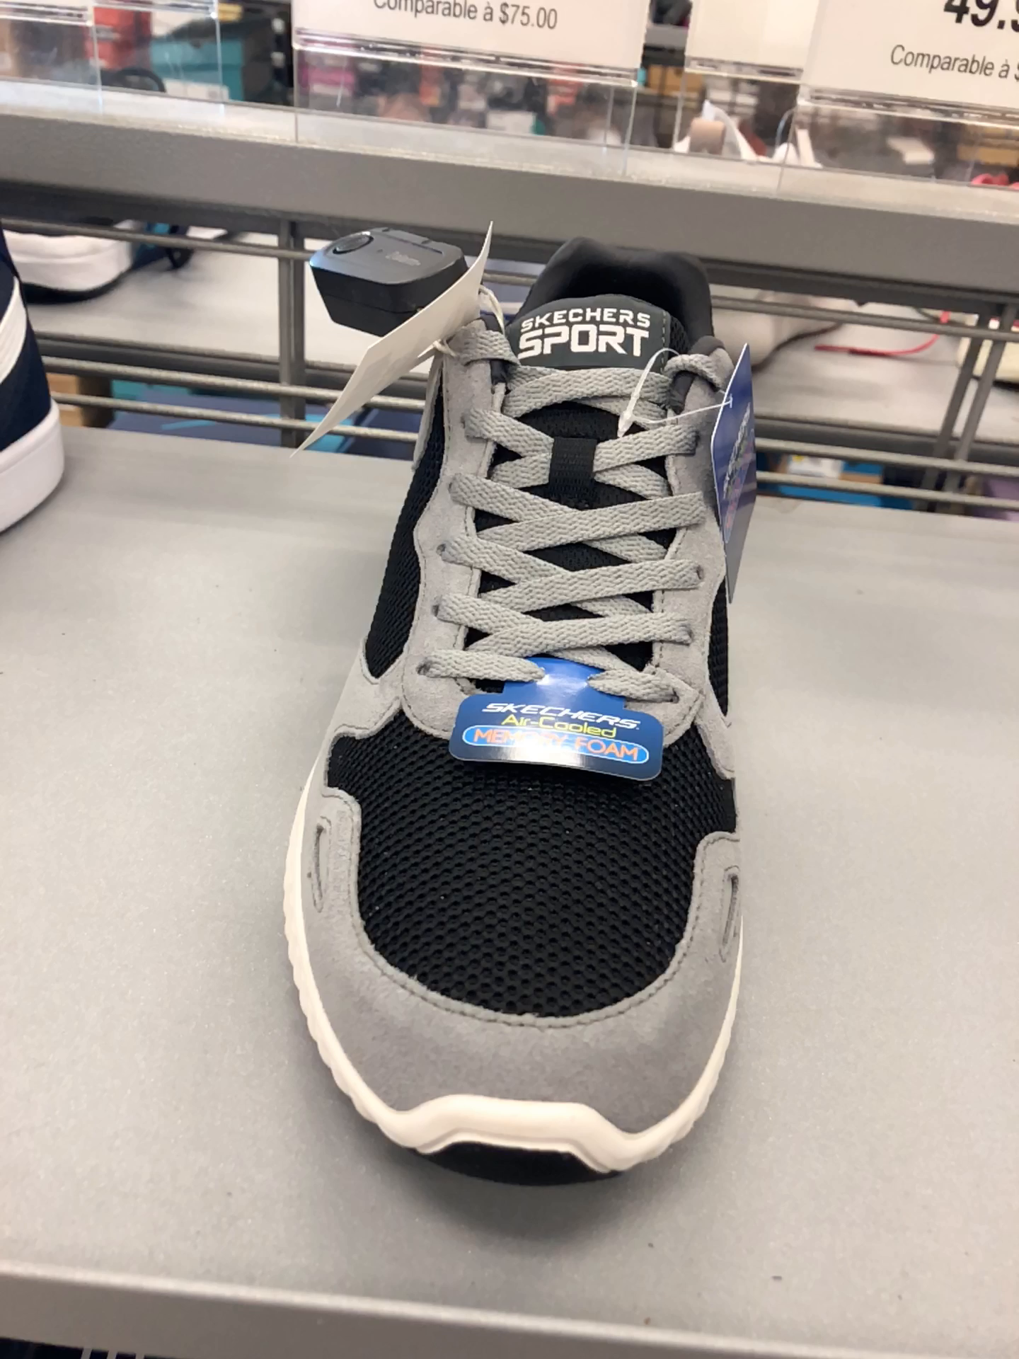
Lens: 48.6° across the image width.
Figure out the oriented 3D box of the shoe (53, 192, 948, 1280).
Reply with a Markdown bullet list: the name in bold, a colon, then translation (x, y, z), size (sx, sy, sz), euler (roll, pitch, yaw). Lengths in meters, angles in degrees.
- **shoe**: translation (0.012, -0.029, 0.307), size (0.120, 0.119, 0.302), euler (9, 35, 3)
